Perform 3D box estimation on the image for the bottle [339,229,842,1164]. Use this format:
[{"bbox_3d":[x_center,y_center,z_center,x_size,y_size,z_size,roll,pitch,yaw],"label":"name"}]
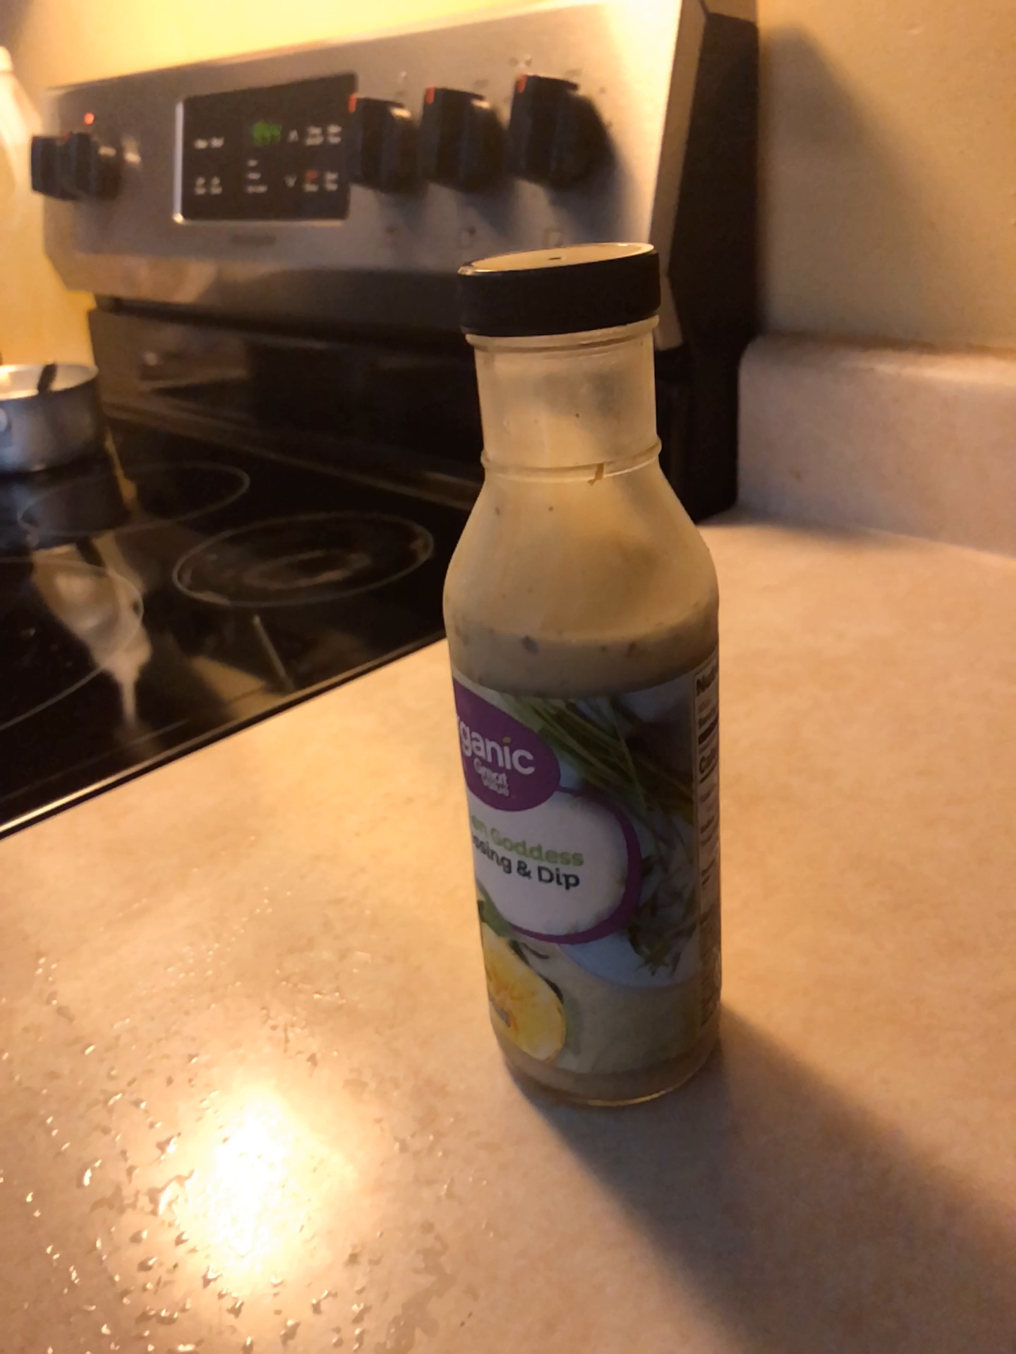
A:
[{"bbox_3d":[0.021,0.004,0.261,0.070,0.189,0.070,-4,25,2],"label":"bottle"}]
